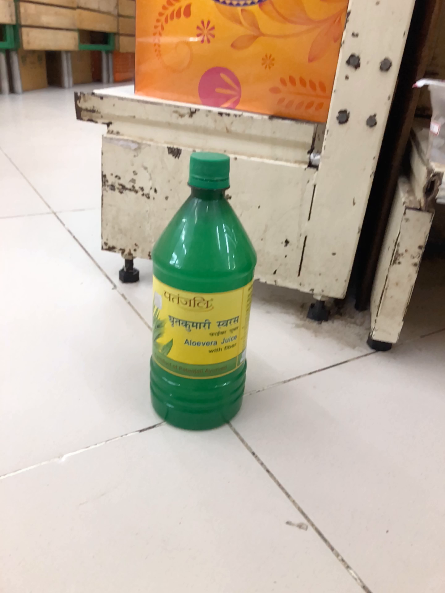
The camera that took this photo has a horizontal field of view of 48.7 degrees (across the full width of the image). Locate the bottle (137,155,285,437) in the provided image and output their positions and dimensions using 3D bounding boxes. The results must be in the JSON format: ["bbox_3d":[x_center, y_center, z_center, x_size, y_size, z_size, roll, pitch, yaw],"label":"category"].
[{"bbox_3d":[-0.017,0.002,0.425,0.100,0.219,0.101,3,27,-2],"label":"bottle"}]
